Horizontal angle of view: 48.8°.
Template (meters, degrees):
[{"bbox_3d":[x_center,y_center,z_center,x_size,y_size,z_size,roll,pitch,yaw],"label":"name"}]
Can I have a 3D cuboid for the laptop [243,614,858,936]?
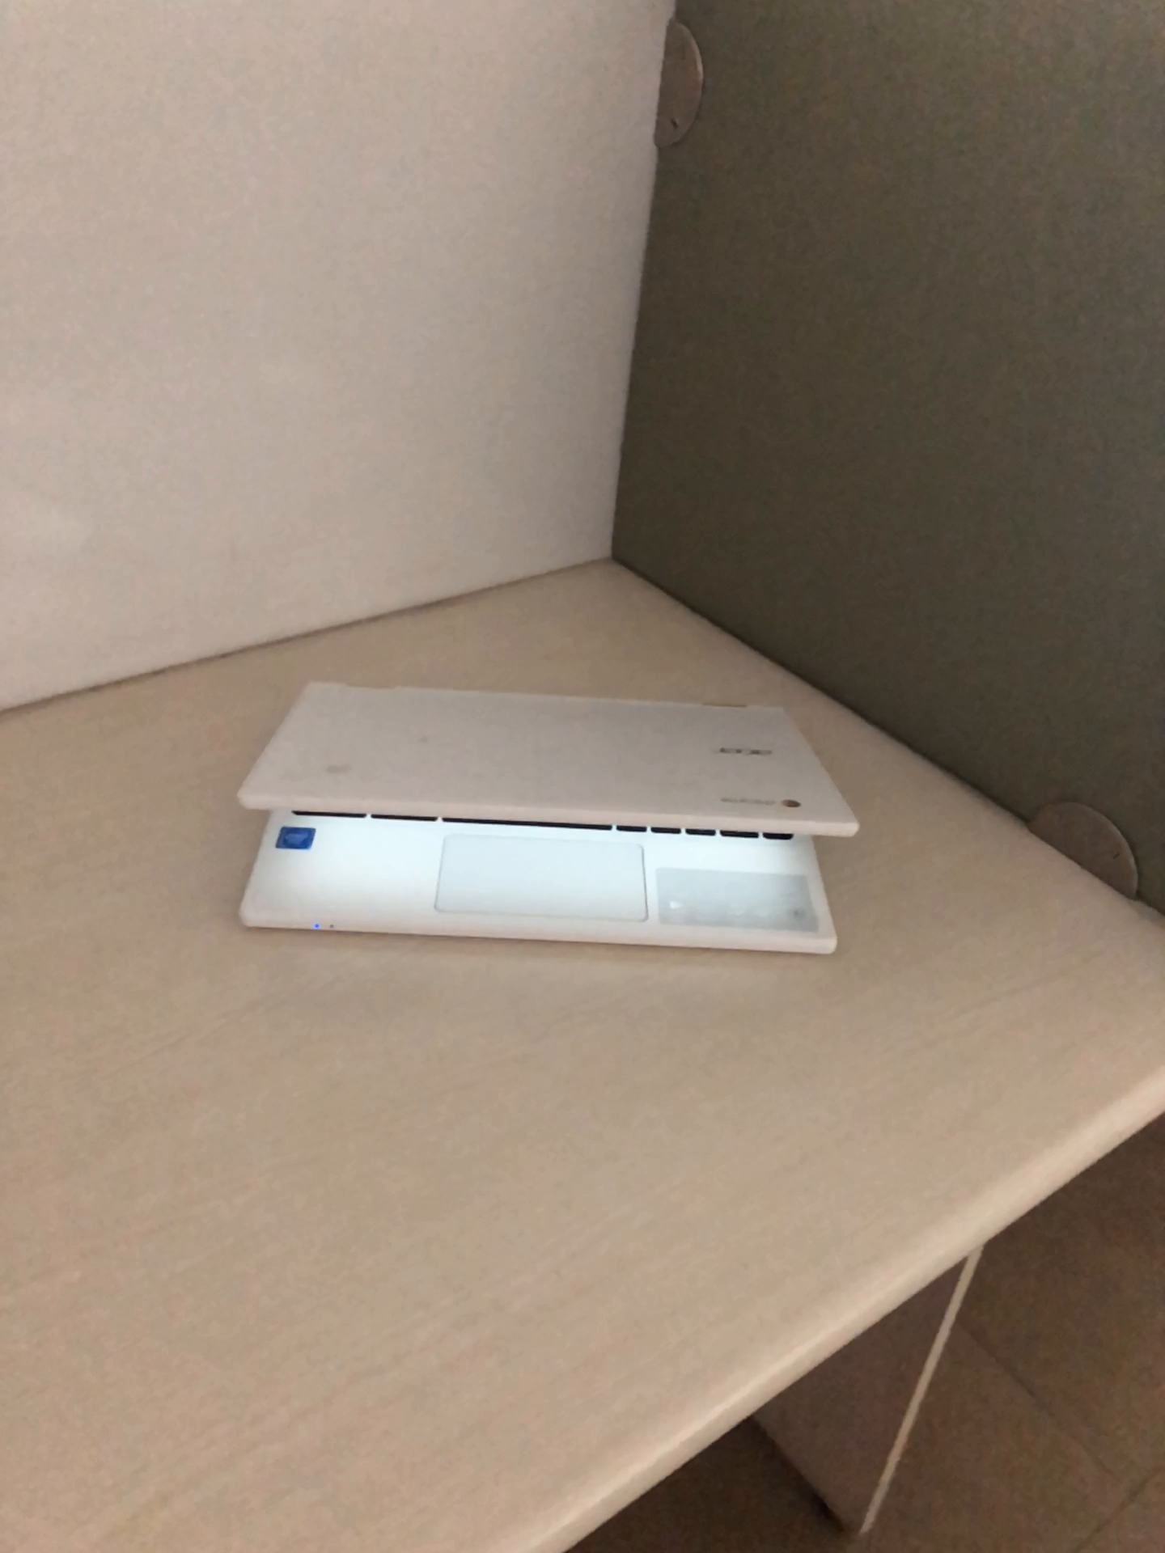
[{"bbox_3d":[-0.016,-0.008,0.681,0.282,0.055,0.193,3,35,-3],"label":"laptop"}]
